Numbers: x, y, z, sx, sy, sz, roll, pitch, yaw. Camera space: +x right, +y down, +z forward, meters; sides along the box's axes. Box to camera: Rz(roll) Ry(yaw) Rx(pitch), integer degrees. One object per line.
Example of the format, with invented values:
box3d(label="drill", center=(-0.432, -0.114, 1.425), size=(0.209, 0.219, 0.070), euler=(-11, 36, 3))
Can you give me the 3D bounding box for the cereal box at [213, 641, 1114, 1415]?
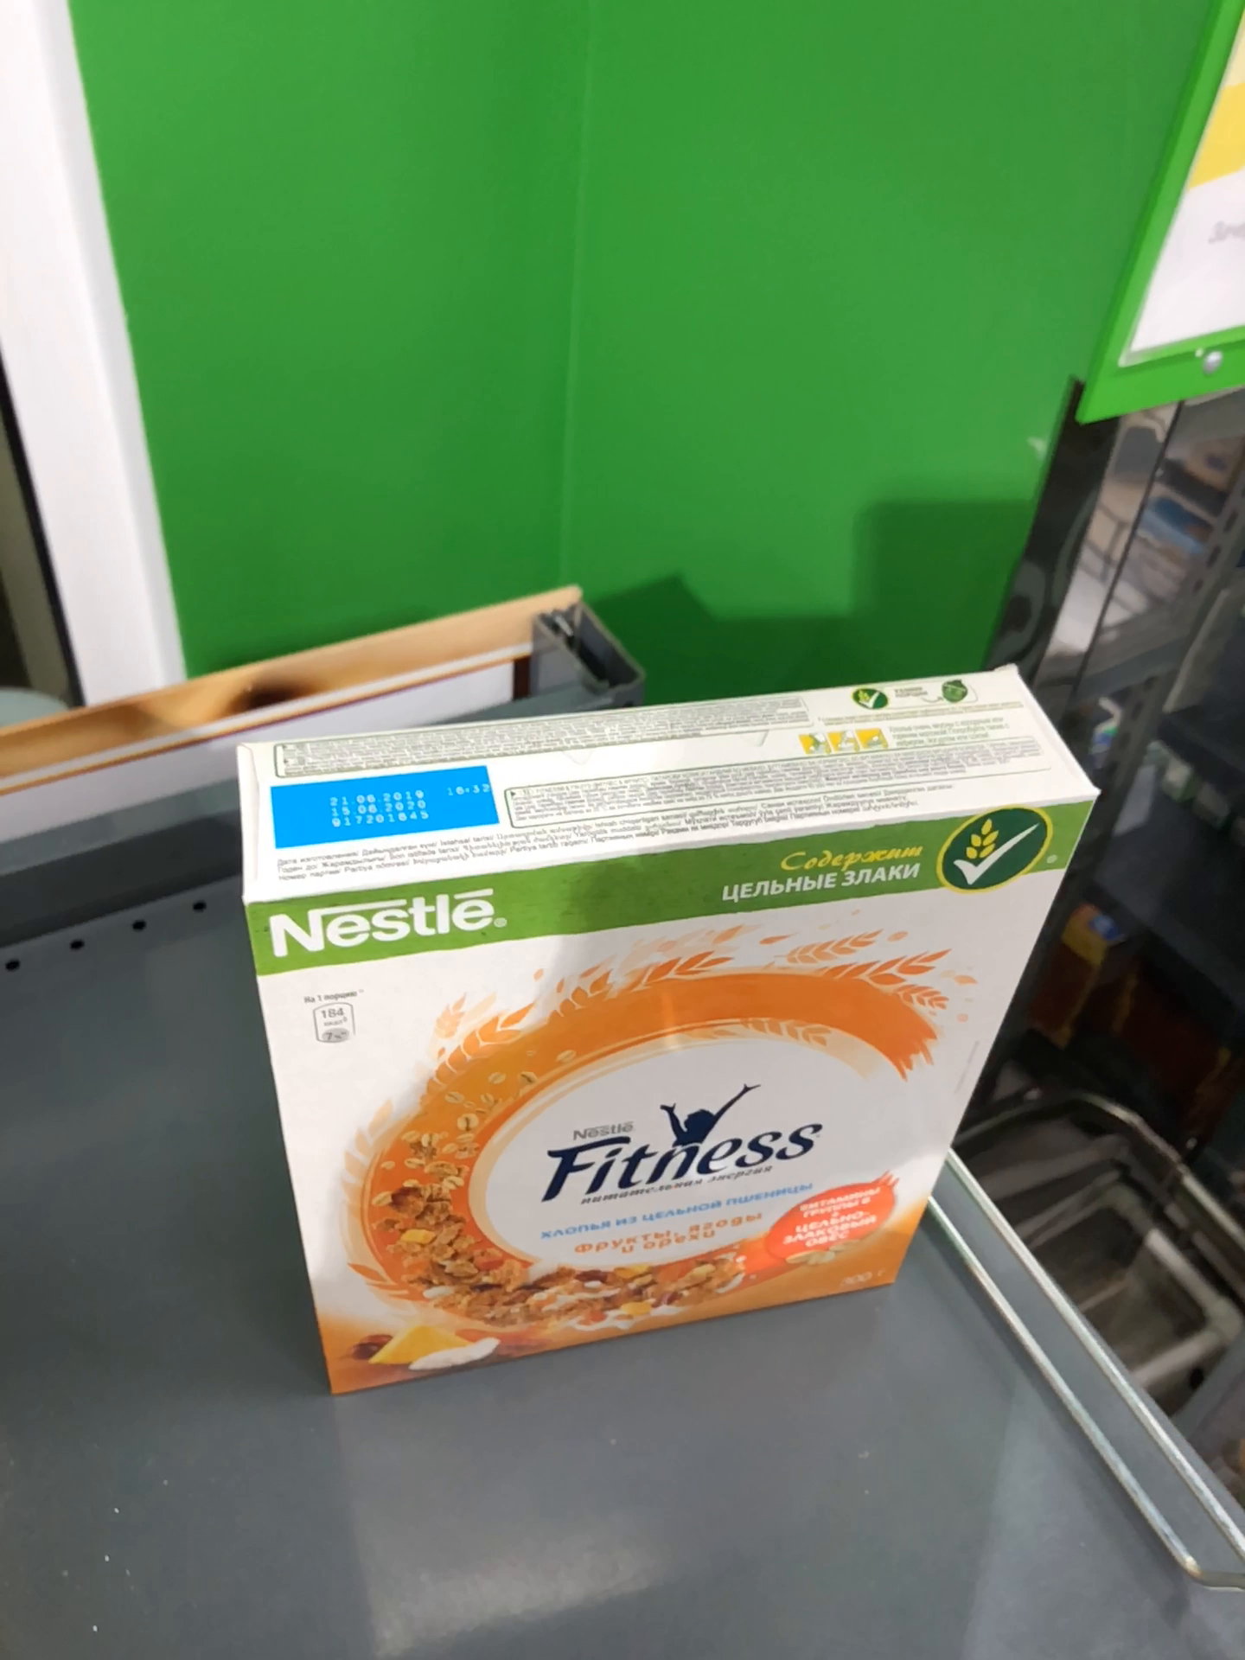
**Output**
box3d(label="cereal box", center=(0.001, 0.068, 0.400), size=(0.200, 0.238, 0.060), euler=(-6, 45, -13))
